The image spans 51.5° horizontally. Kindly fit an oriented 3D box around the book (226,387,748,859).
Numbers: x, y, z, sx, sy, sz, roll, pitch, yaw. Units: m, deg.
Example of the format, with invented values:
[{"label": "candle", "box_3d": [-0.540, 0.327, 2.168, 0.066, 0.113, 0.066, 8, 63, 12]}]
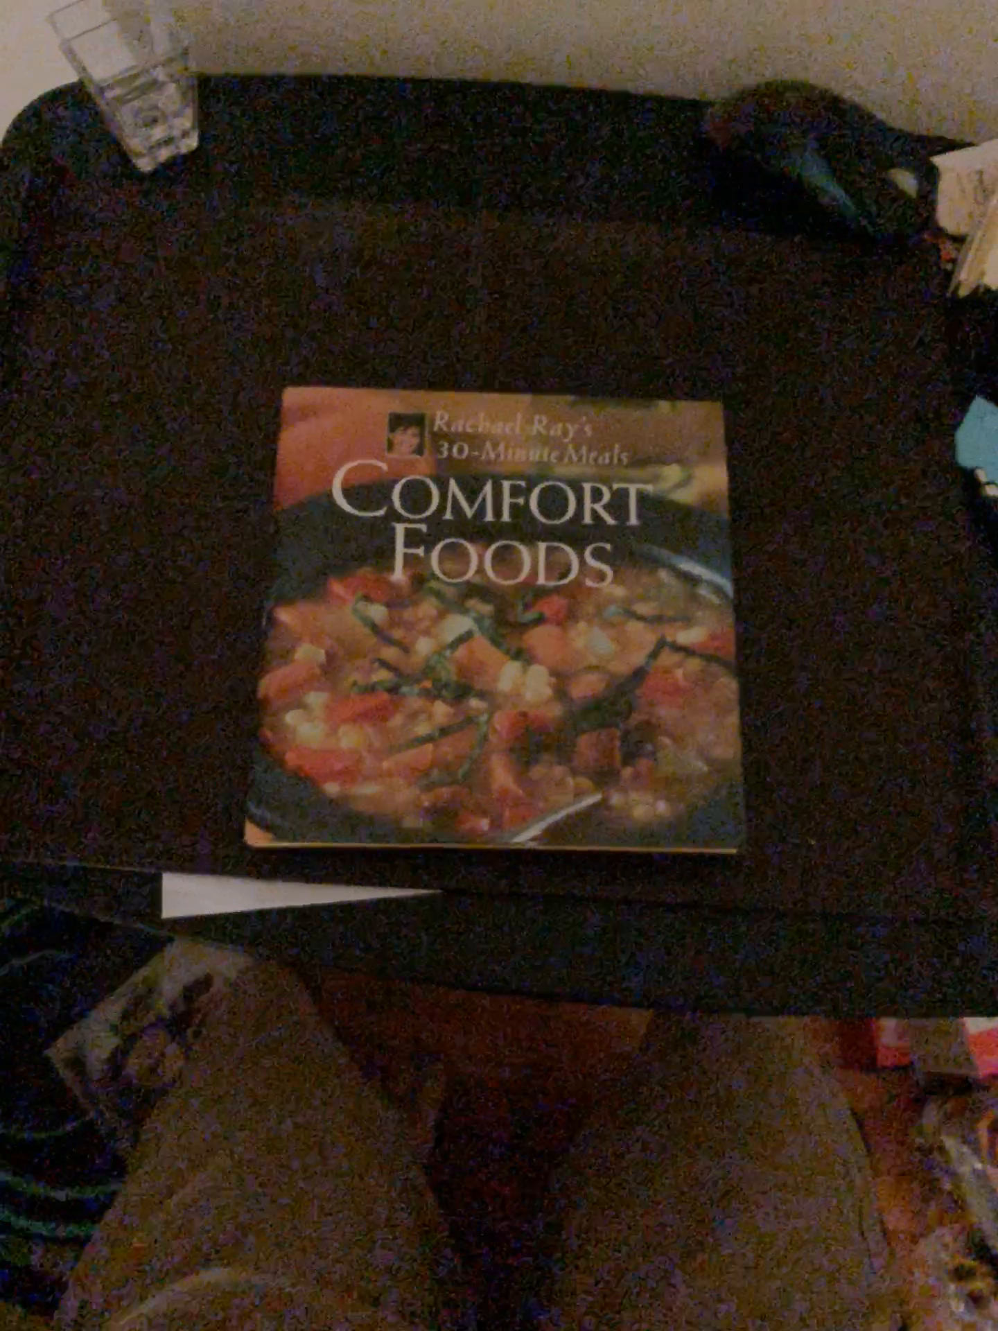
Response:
[{"label": "book", "box_3d": [-0.004, -0.022, 0.436, 0.200, 0.020, 0.200, 1, 73, -2]}]
